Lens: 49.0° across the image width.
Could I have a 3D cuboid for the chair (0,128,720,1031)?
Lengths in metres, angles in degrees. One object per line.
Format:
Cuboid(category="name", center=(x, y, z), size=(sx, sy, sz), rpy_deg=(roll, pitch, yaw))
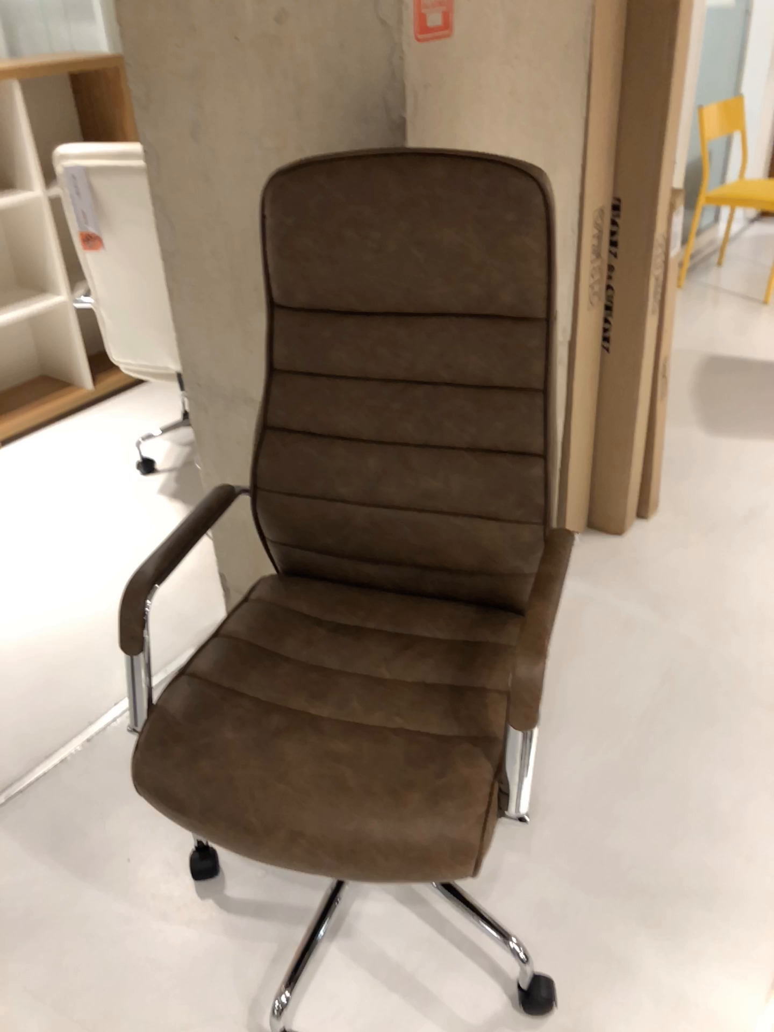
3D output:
Cuboid(category="chair", center=(-0.021, 0.097, 1.049), size=(0.641, 0.963, 0.634), rpy_deg=(9, 34, 19))
